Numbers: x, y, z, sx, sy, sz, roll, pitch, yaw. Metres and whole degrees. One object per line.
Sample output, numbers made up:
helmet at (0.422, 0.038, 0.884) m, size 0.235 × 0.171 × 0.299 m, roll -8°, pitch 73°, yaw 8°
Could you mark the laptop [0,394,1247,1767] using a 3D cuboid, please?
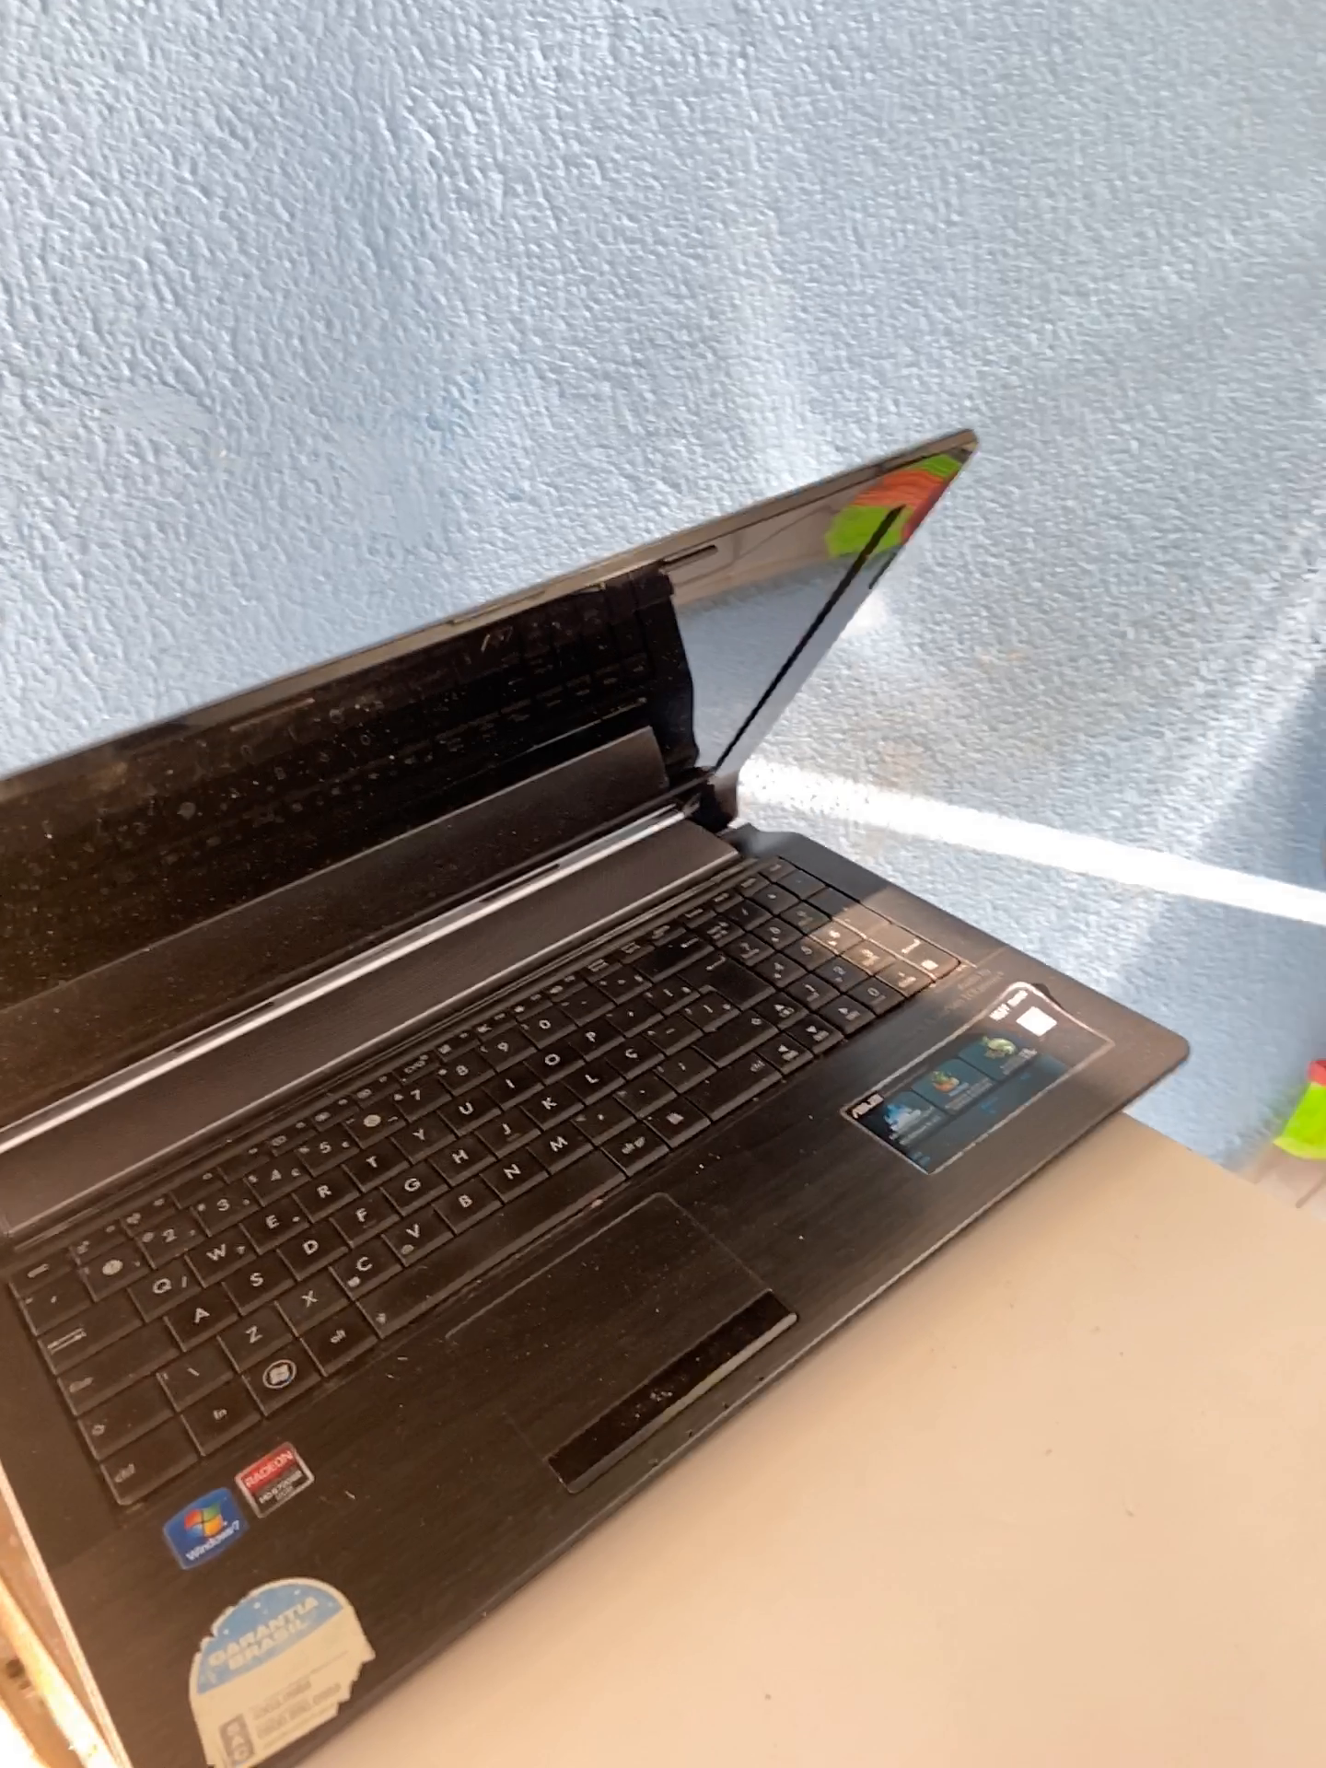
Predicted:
laptop at (-0.048, 0.004, 0.438) m, size 0.388 × 0.208 × 0.256 m, roll -27°, pitch 35°, yaw -29°
